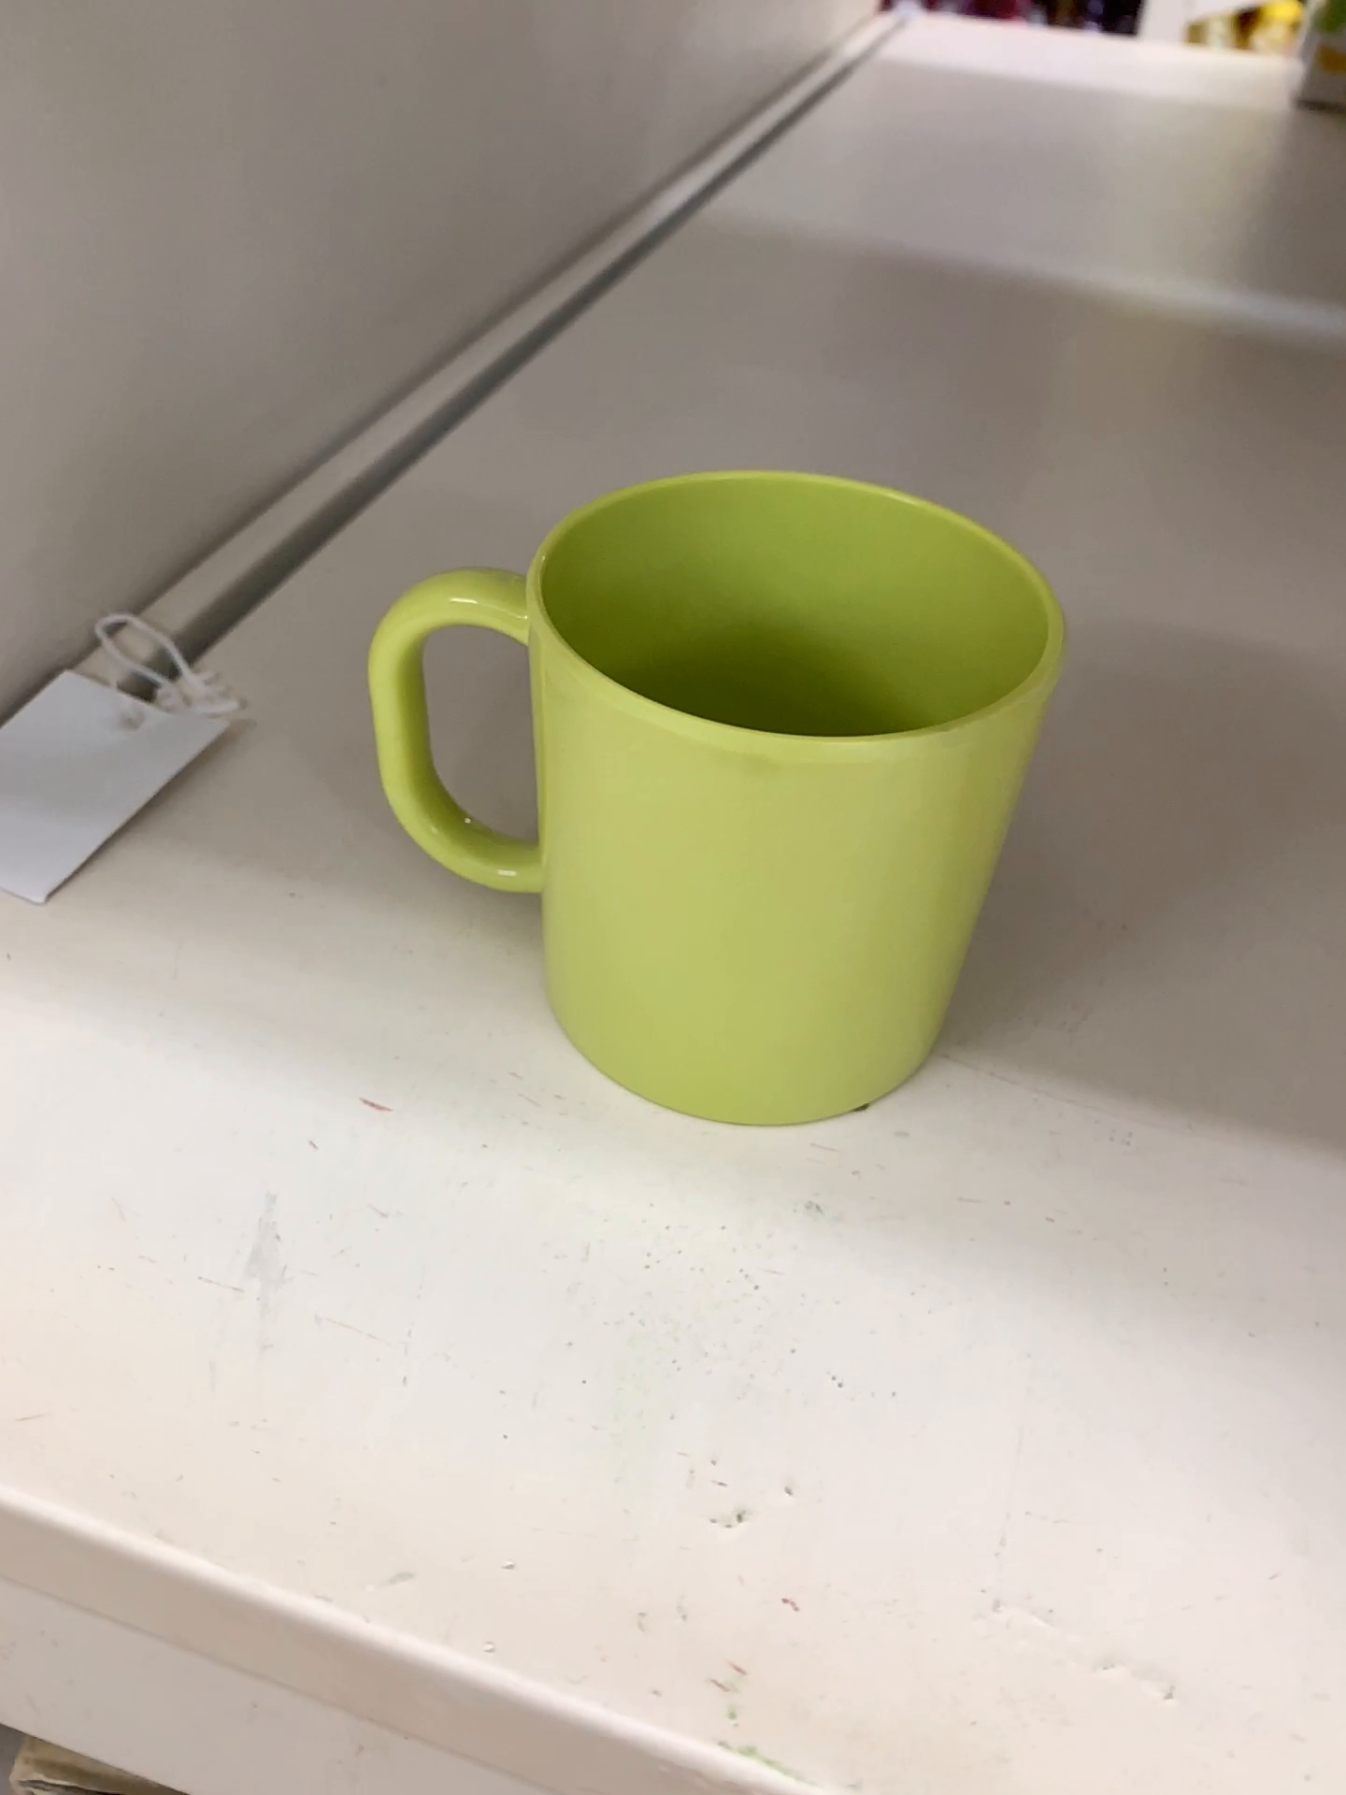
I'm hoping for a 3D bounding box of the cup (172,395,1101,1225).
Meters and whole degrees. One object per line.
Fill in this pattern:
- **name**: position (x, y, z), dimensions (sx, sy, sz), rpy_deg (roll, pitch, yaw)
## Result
- **cup**: position (-0.001, -0.016, 0.202), dimensions (0.100, 0.069, 0.071), rpy_deg (14, 41, 12)
